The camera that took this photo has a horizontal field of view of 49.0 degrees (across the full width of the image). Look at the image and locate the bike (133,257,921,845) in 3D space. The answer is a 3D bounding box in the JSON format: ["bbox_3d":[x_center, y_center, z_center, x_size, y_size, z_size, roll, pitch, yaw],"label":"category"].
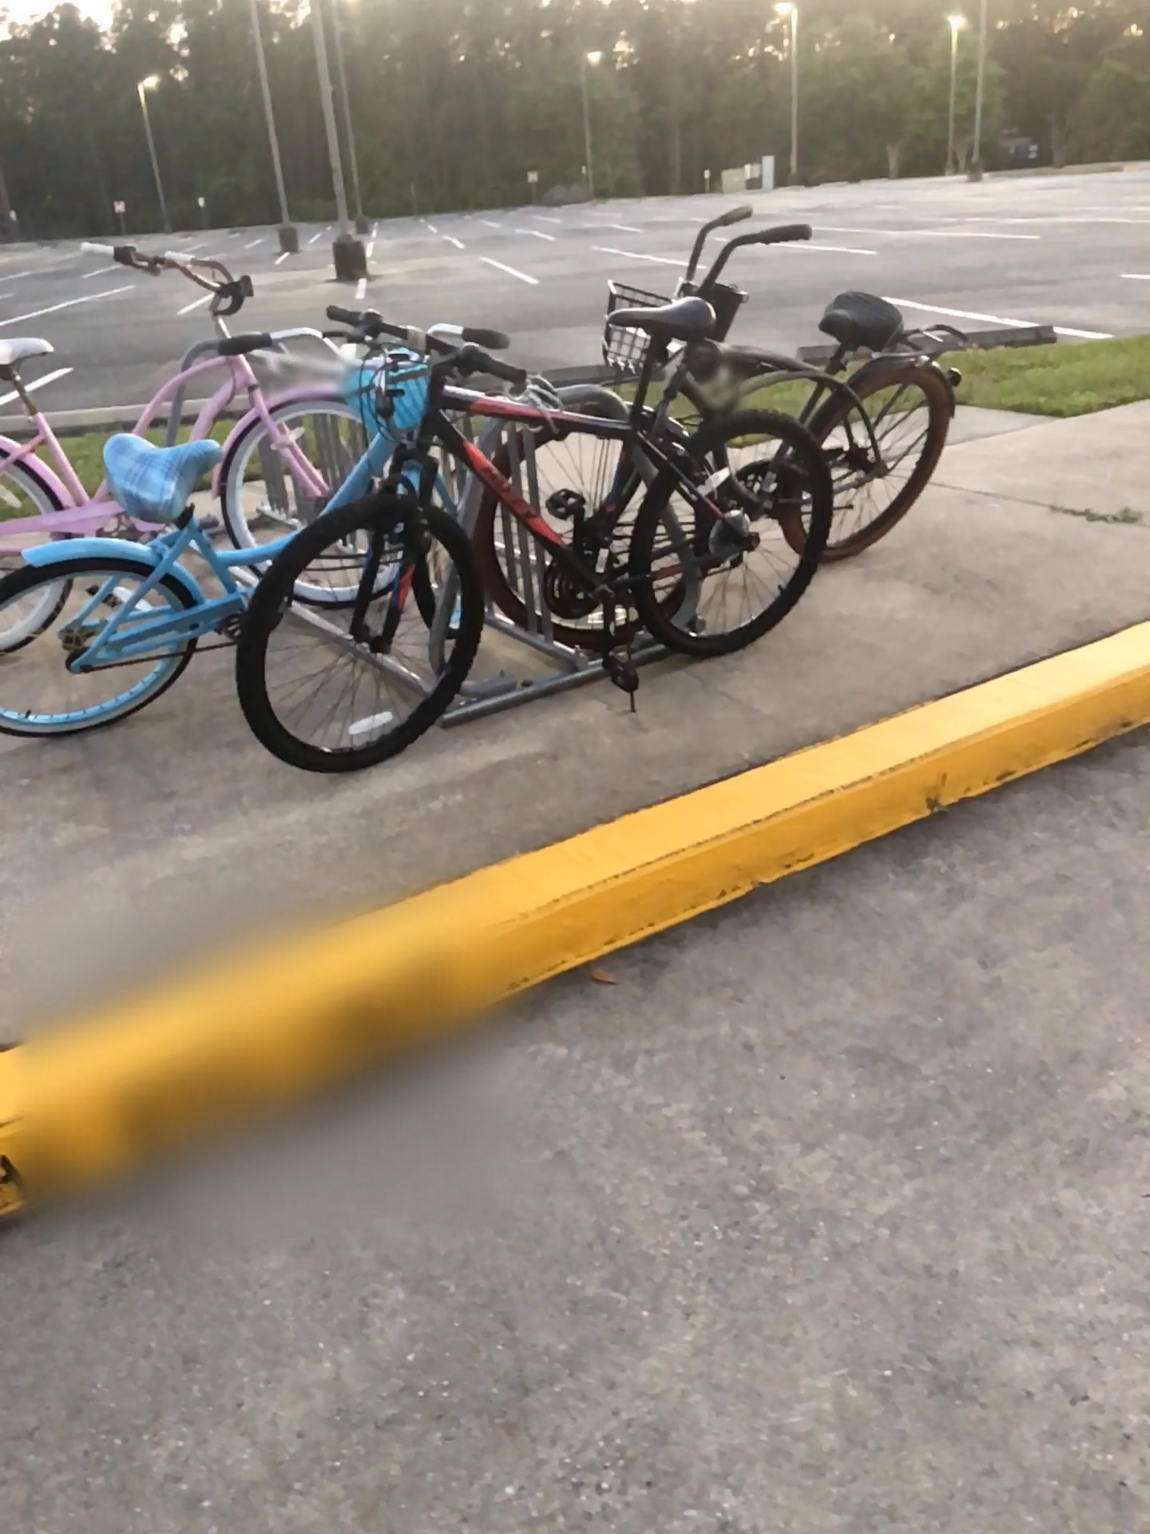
[{"bbox_3d":[-0.006,-0.602,2.865,1.632,0.932,0.626,-19,28,-32],"label":"bike"}]
